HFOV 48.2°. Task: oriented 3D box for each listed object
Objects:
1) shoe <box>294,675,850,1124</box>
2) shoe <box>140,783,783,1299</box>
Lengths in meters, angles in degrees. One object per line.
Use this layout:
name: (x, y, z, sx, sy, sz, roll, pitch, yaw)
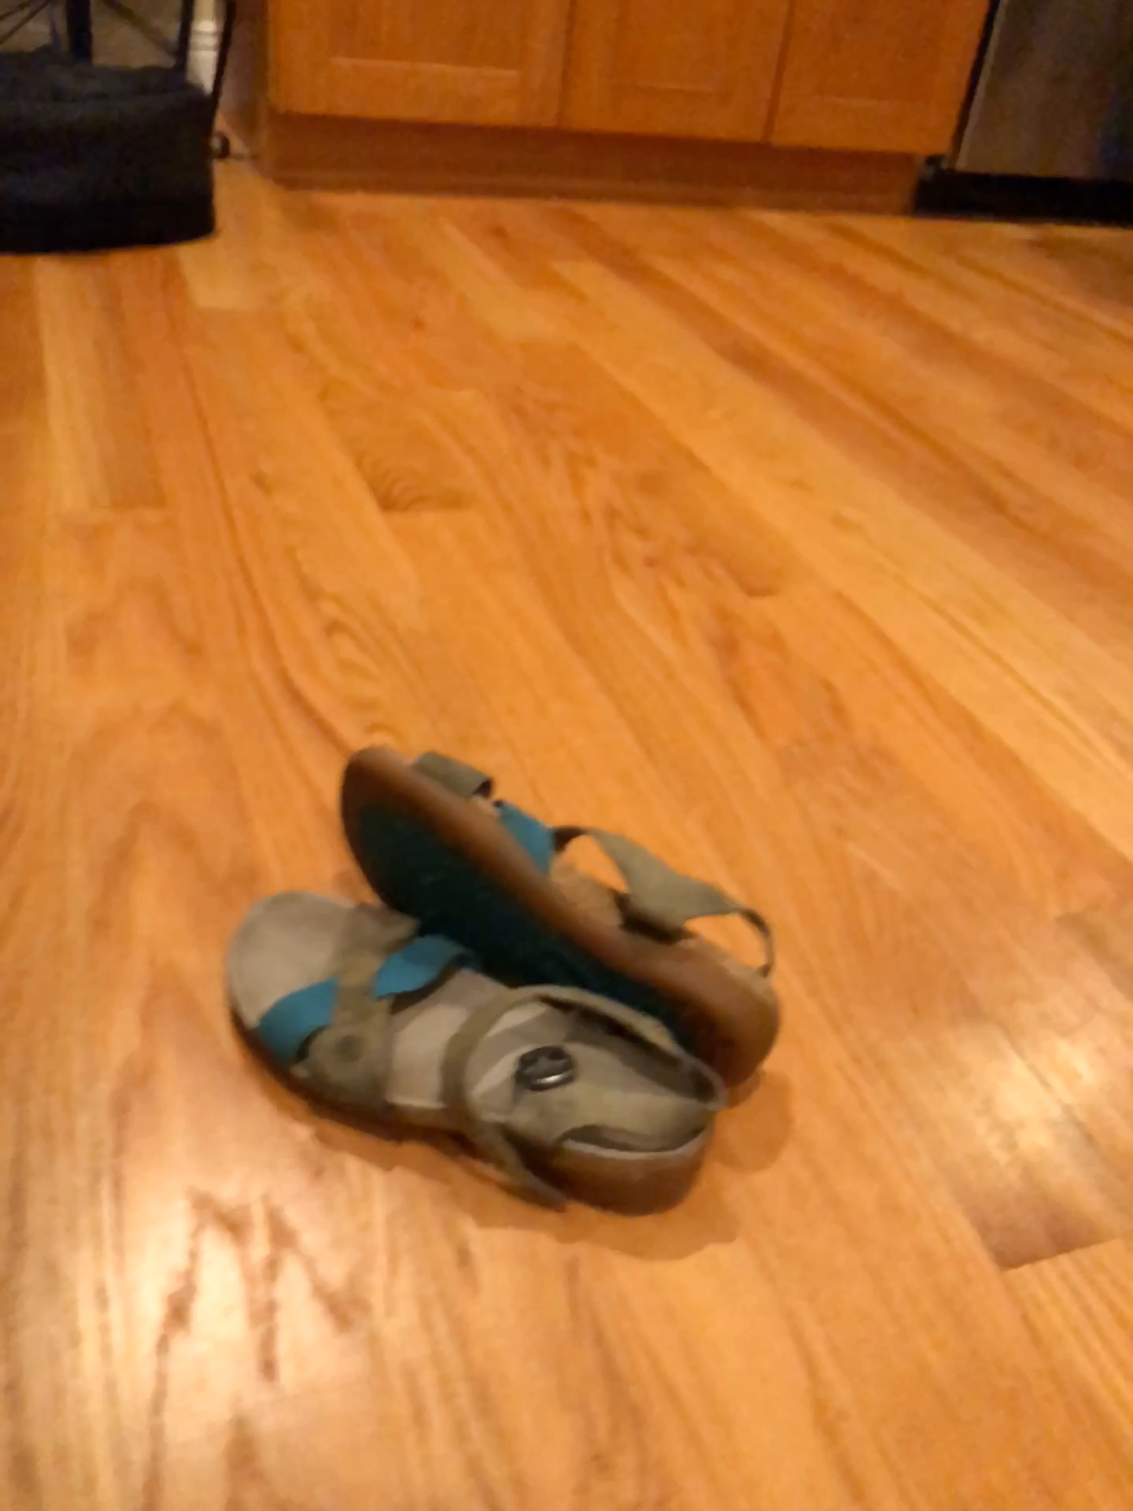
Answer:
shoe: (-0.006, 0.059, 0.574, 0.238, 0.104, 0.065, 21, 36, 18)
shoe: (-0.046, 0.108, 0.532, 0.240, 0.075, 0.105, 21, 36, 18)
